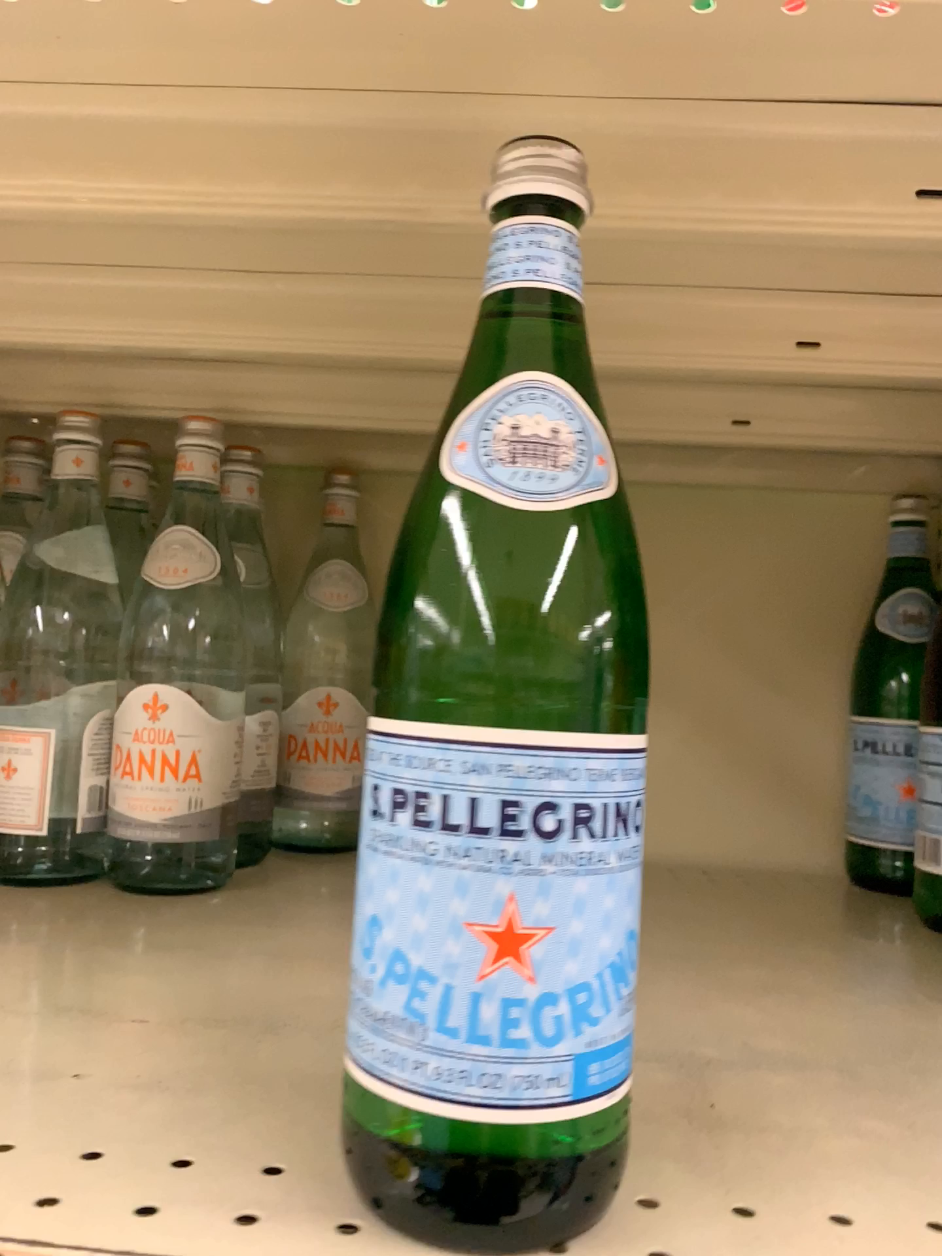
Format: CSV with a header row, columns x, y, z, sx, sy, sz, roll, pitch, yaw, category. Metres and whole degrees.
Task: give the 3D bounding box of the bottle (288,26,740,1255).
x,y,z,sx,sy,sz,roll,pitch,yaw,category
0.015,0.002,0.271,0.090,0.290,0.090,3,-2,0,bottle
